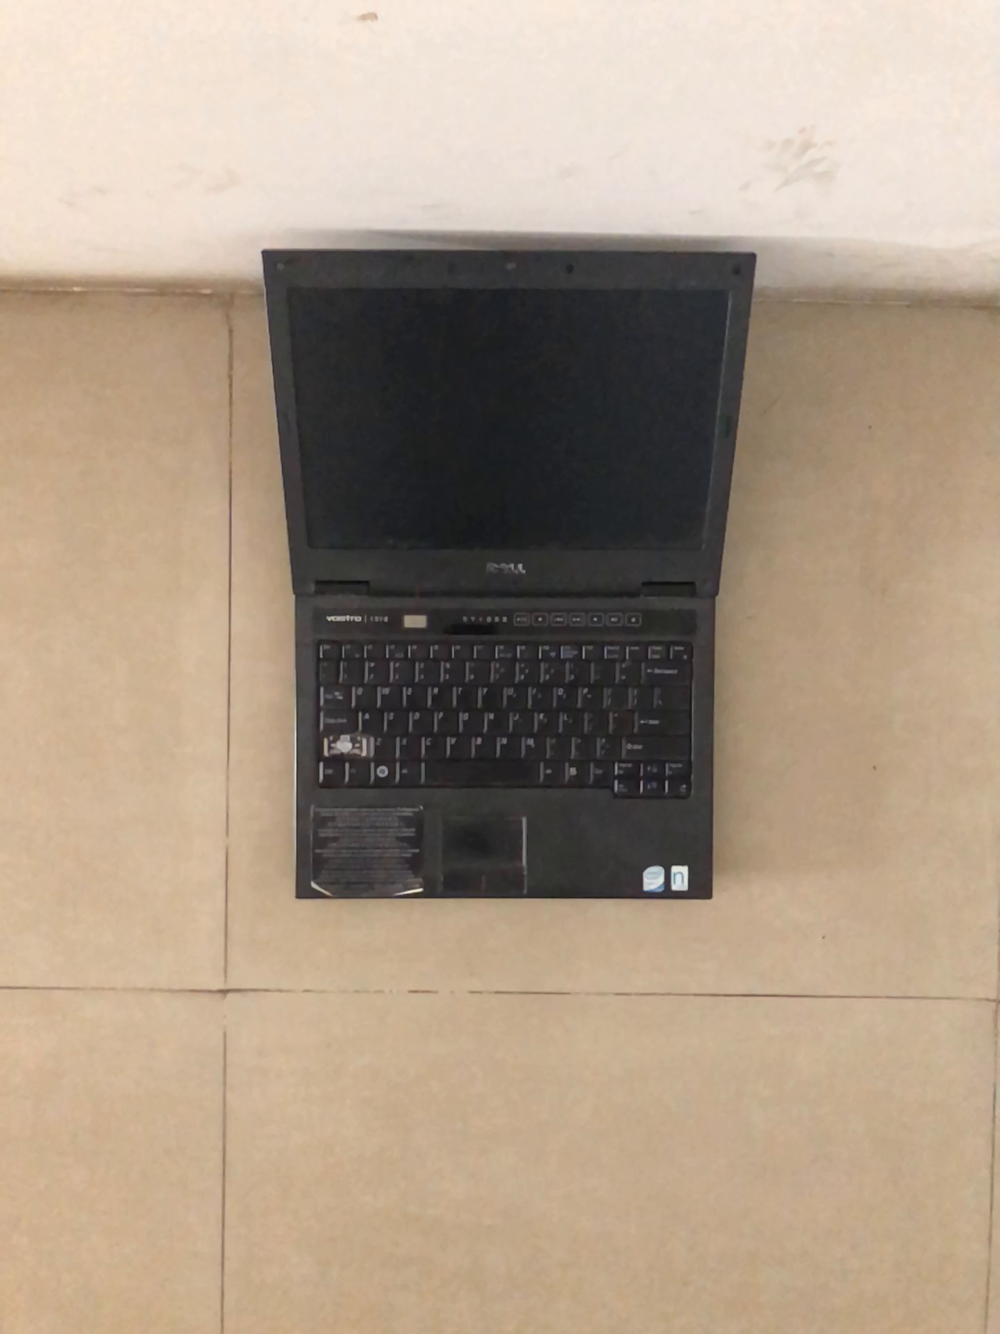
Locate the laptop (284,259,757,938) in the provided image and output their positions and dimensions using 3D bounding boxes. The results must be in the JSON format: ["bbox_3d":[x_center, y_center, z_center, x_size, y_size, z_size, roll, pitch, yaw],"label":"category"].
[{"bbox_3d":[0.011,-0.044,0.760,0.299,0.114,0.432,0,92,1],"label":"laptop"}]
